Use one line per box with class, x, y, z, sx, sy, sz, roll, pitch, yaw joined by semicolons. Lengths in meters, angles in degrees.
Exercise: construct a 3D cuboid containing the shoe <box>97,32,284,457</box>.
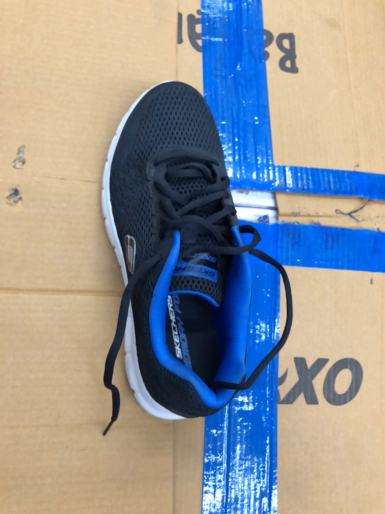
shoe;-0.015;-0.011;0.338;0.114;0.106;0.278;0;79;-13
